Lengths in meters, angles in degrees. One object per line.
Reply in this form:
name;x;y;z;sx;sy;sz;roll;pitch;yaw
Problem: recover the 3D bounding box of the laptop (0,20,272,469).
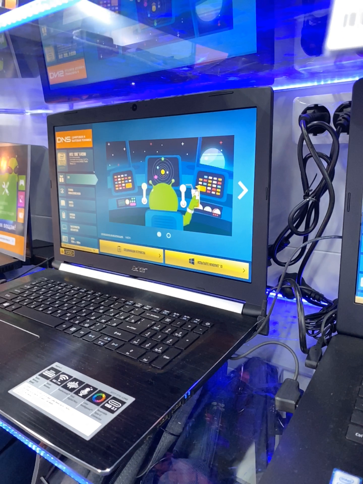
laptop;-0.145;-0.036;0.470;0.424;0.278;0.311;7;17;34
